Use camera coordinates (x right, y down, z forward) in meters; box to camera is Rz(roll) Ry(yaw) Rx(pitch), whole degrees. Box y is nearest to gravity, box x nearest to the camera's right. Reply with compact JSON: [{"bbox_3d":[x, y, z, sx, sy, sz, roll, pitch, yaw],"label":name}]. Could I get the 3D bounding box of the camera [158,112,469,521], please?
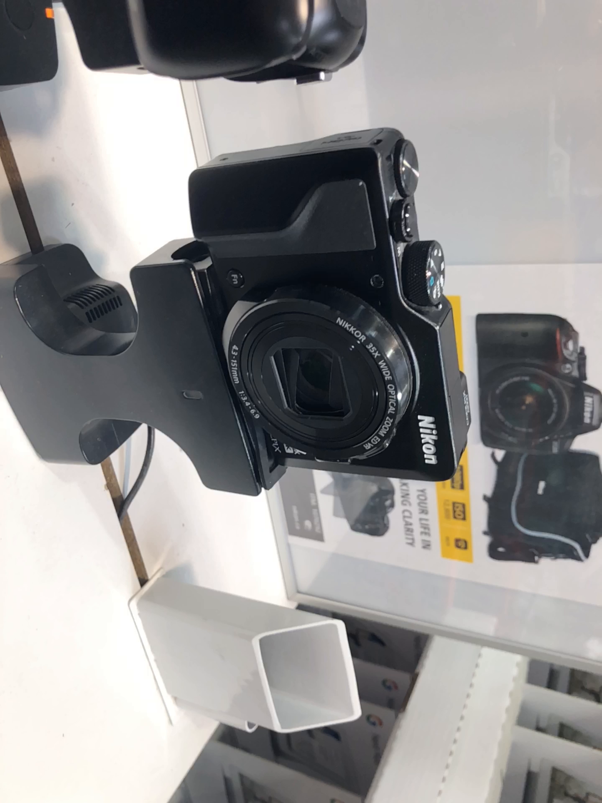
[{"bbox_3d":[0.013,-0.022,0.216,0.044,0.069,0.117,-62,147,-47],"label":"camera"}]
